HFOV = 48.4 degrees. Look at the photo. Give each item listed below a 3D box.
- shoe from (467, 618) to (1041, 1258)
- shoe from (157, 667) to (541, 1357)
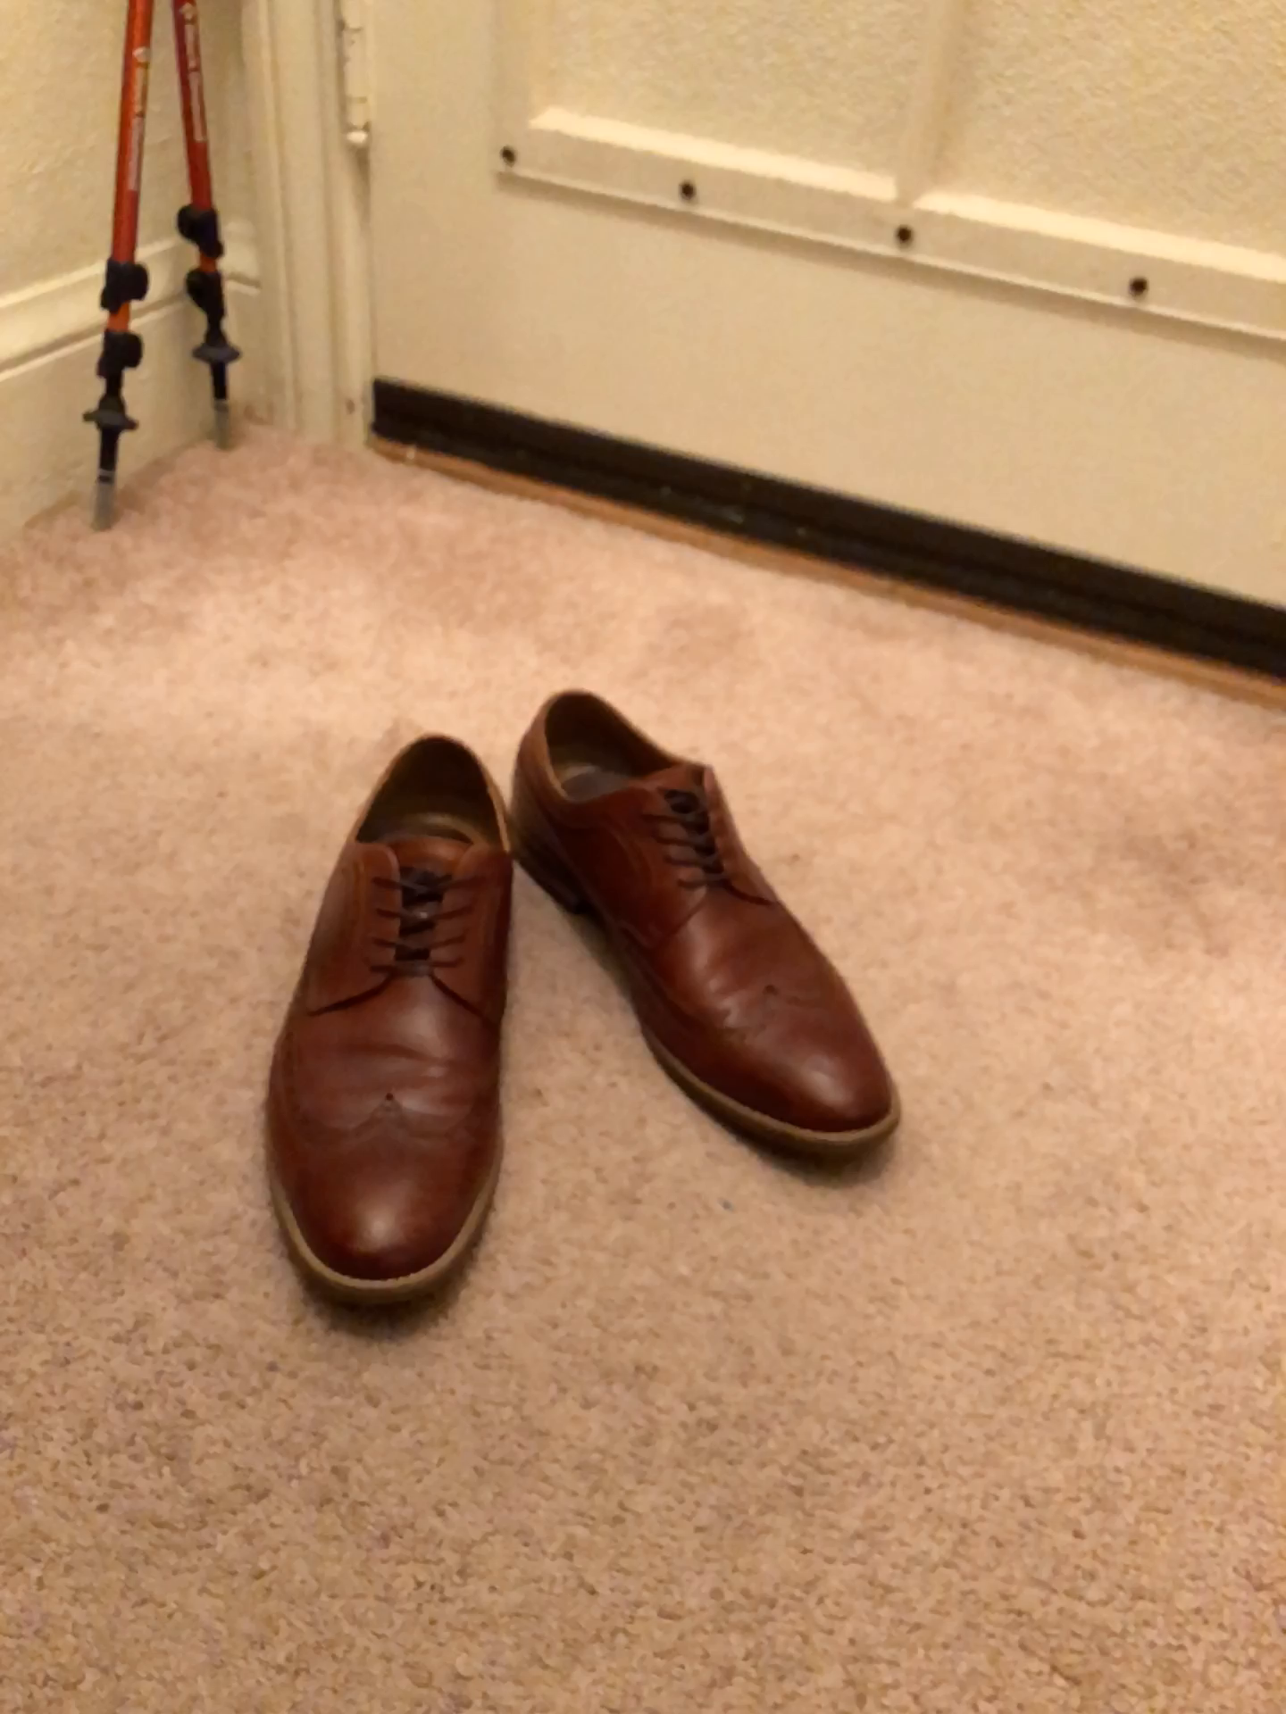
[{"bbox_3d":[0.031,0.019,0.692,0.115,0.114,0.311,-16,44,-25],"label":"shoe"},{"bbox_3d":[-0.113,0.050,0.643,0.115,0.114,0.312,4,39,-4],"label":"shoe"}]
